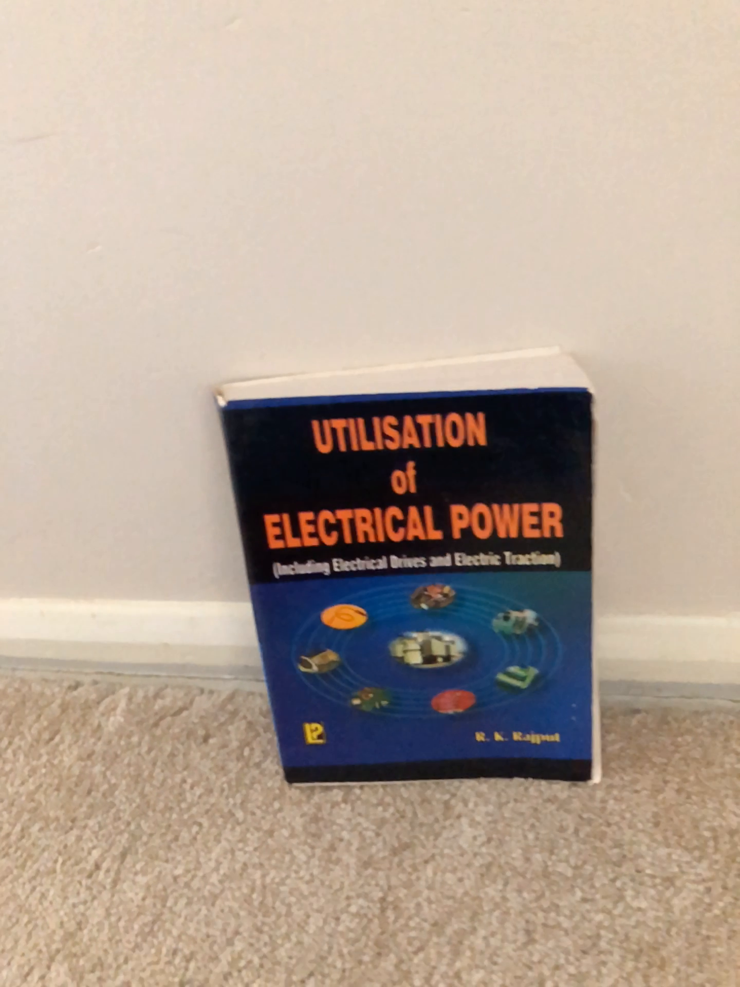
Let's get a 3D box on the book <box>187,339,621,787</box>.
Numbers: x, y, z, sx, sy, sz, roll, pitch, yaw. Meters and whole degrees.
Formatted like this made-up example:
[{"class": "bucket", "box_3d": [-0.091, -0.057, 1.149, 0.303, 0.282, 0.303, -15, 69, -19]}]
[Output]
[{"class": "book", "box_3d": [0.027, 0.047, 0.436, 0.190, 0.229, 0.050, -5, 23, 11]}]
